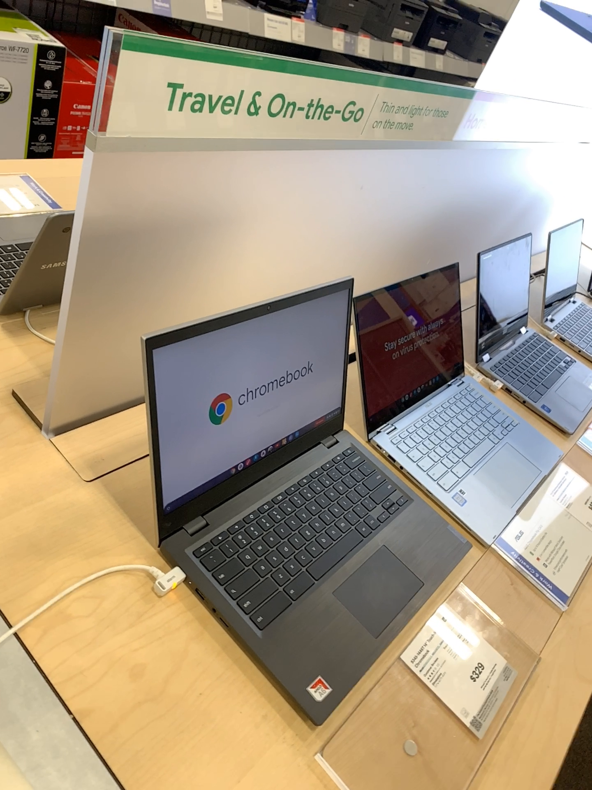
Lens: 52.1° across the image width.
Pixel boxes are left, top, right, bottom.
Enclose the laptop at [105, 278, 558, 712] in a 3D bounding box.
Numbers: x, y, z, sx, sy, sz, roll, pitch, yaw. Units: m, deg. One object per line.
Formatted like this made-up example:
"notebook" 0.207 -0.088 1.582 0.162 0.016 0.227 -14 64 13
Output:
"laptop" 0.039 0.066 0.628 0.299 0.188 0.311 42 39 19
